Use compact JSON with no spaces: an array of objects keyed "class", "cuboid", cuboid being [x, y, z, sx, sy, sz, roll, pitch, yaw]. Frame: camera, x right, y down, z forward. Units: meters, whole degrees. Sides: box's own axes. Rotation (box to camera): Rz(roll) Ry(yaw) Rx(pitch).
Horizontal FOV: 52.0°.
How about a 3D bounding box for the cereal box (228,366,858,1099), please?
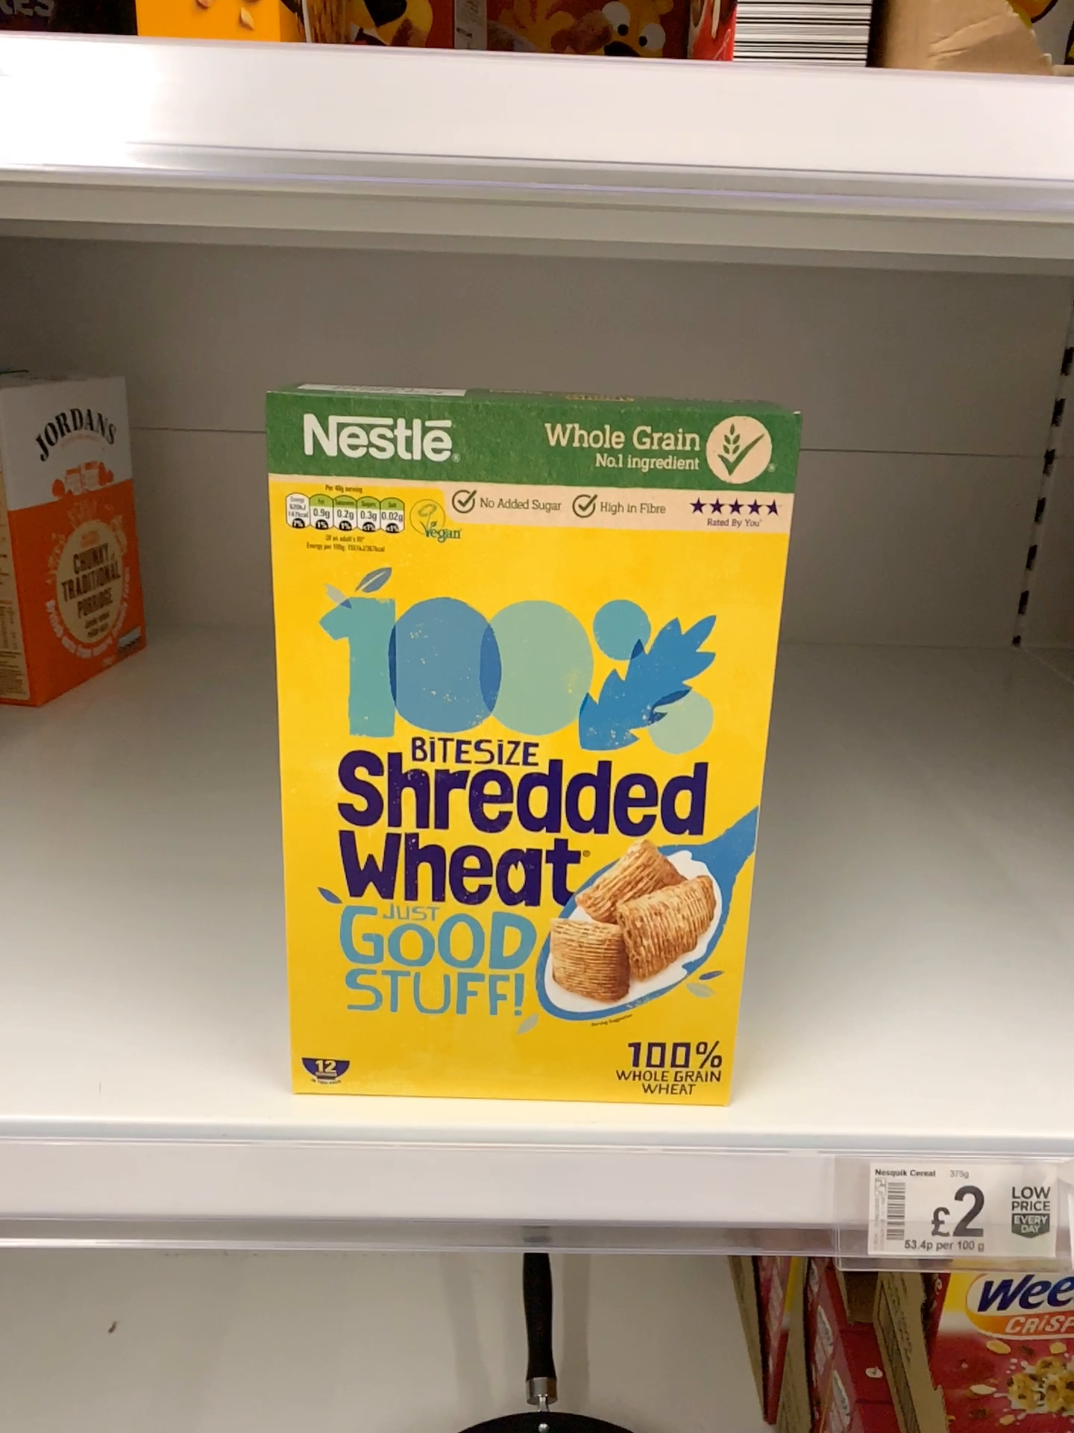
[{"class":"cereal box","cuboid":[-0.002,0.010,0.443,0.210,0.278,0.070,2,18,-1]}]
